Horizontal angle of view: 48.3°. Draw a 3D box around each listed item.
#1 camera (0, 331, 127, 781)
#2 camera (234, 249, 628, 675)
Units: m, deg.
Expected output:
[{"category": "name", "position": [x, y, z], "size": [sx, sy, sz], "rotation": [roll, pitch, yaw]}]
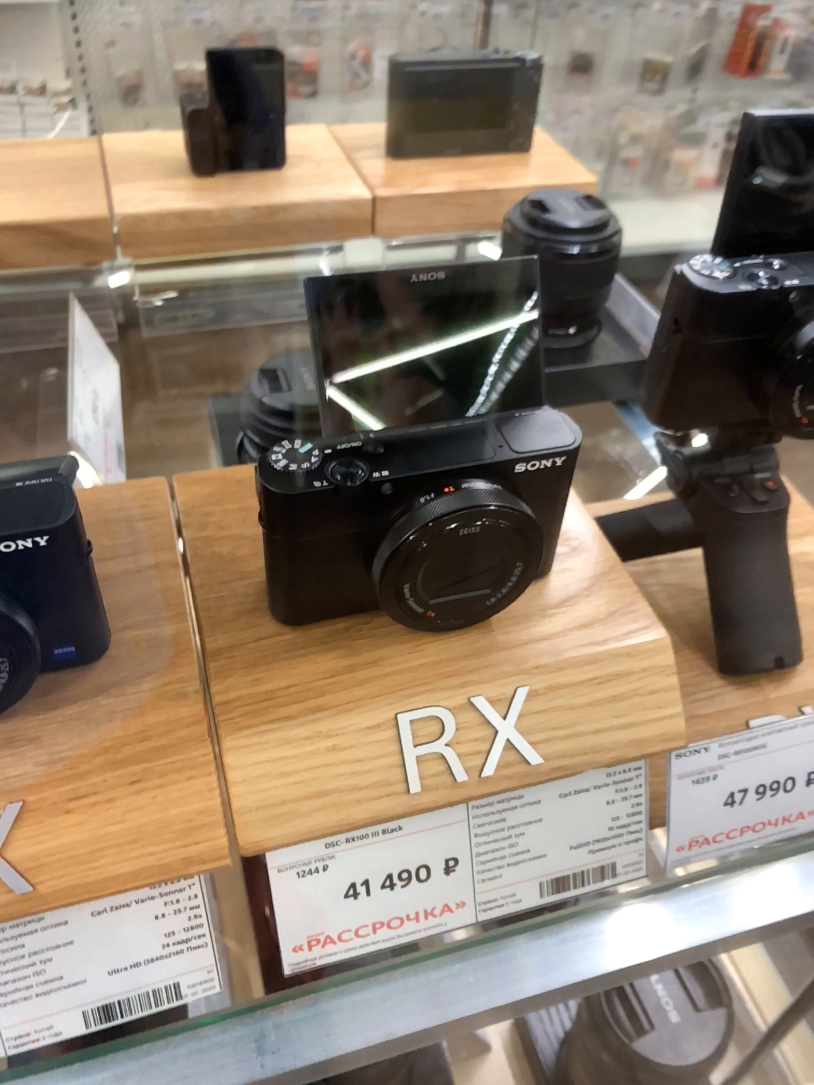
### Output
[{"category": "camera", "position": [-0.142, -0.002, 0.263], "size": [0.101, 0.067, 0.097], "rotation": [-9, 44, -15]}, {"category": "camera", "position": [0.002, -0.024, 0.294], "size": [0.100, 0.119, 0.050], "rotation": [-9, 44, -15]}]
